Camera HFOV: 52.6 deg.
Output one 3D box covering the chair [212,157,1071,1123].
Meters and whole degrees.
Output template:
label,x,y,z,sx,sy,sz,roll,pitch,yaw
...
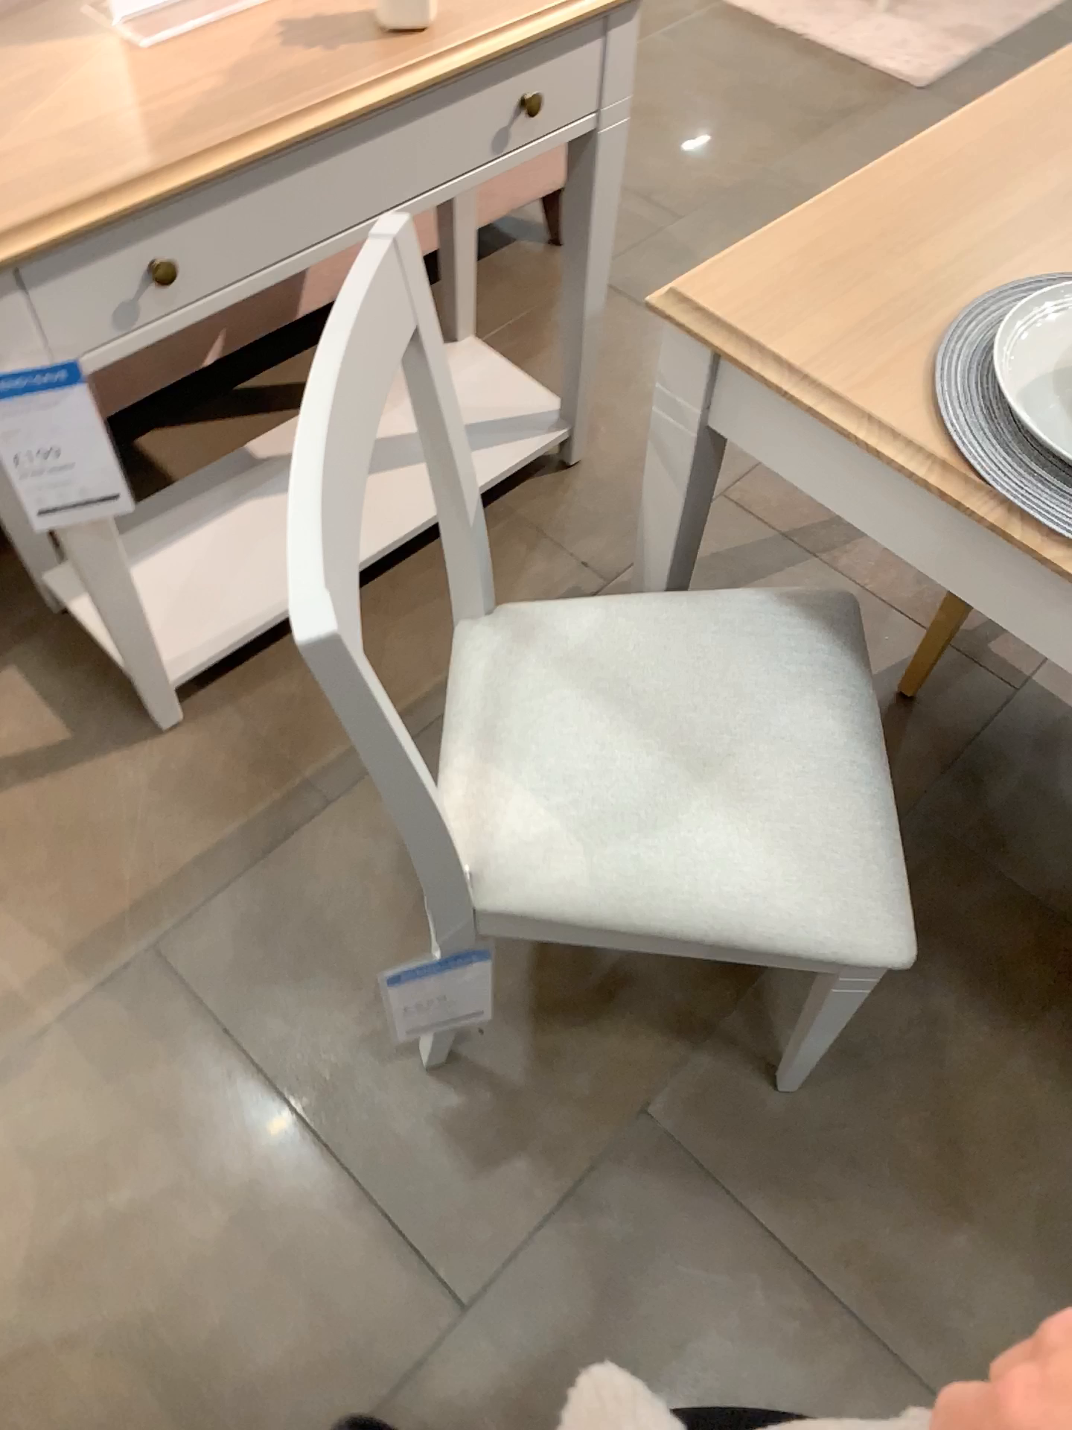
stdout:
label,x,y,z,sx,sy,sz,roll,pitch,yaw
chair,0.090,0.022,1.030,0.507,0.833,0.465,4,56,1
